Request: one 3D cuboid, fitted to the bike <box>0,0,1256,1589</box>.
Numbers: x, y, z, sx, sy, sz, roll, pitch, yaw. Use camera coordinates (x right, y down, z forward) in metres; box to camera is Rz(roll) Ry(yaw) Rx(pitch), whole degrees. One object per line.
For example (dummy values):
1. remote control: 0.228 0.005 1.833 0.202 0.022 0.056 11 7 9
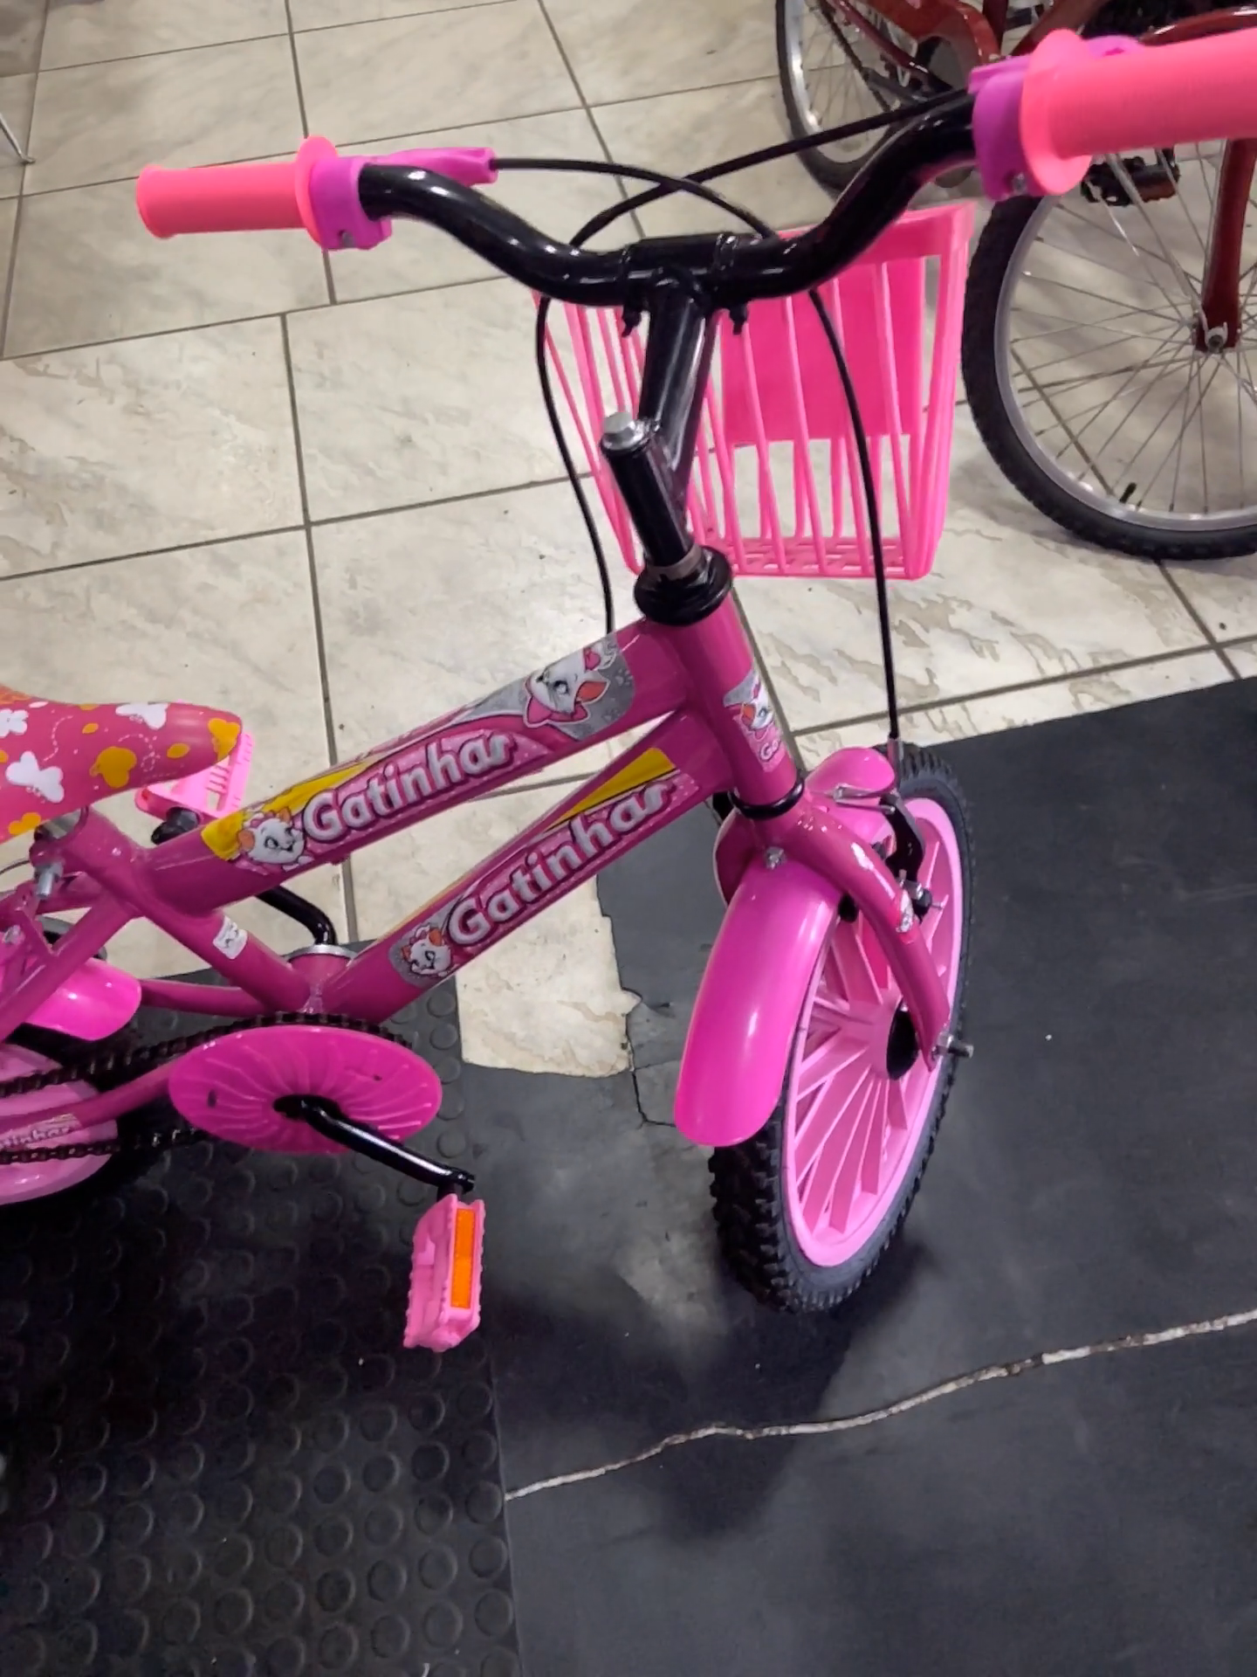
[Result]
1. bike: -0.229 -0.011 0.732 0.939 0.789 0.467 -10 53 -5
